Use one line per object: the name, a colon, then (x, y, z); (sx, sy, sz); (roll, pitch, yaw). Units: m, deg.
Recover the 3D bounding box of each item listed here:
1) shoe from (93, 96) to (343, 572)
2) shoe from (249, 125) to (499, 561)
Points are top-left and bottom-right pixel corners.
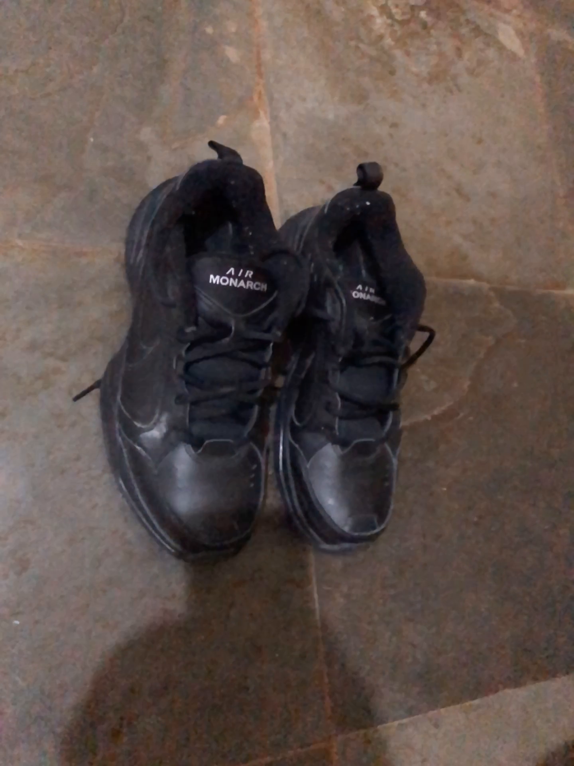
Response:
shoe: (-0.058, -0.025, 0.428); (0.121, 0.109, 0.280); (1, 75, -26)
shoe: (0.056, -0.023, 0.490); (0.121, 0.109, 0.300); (3, 74, -25)
